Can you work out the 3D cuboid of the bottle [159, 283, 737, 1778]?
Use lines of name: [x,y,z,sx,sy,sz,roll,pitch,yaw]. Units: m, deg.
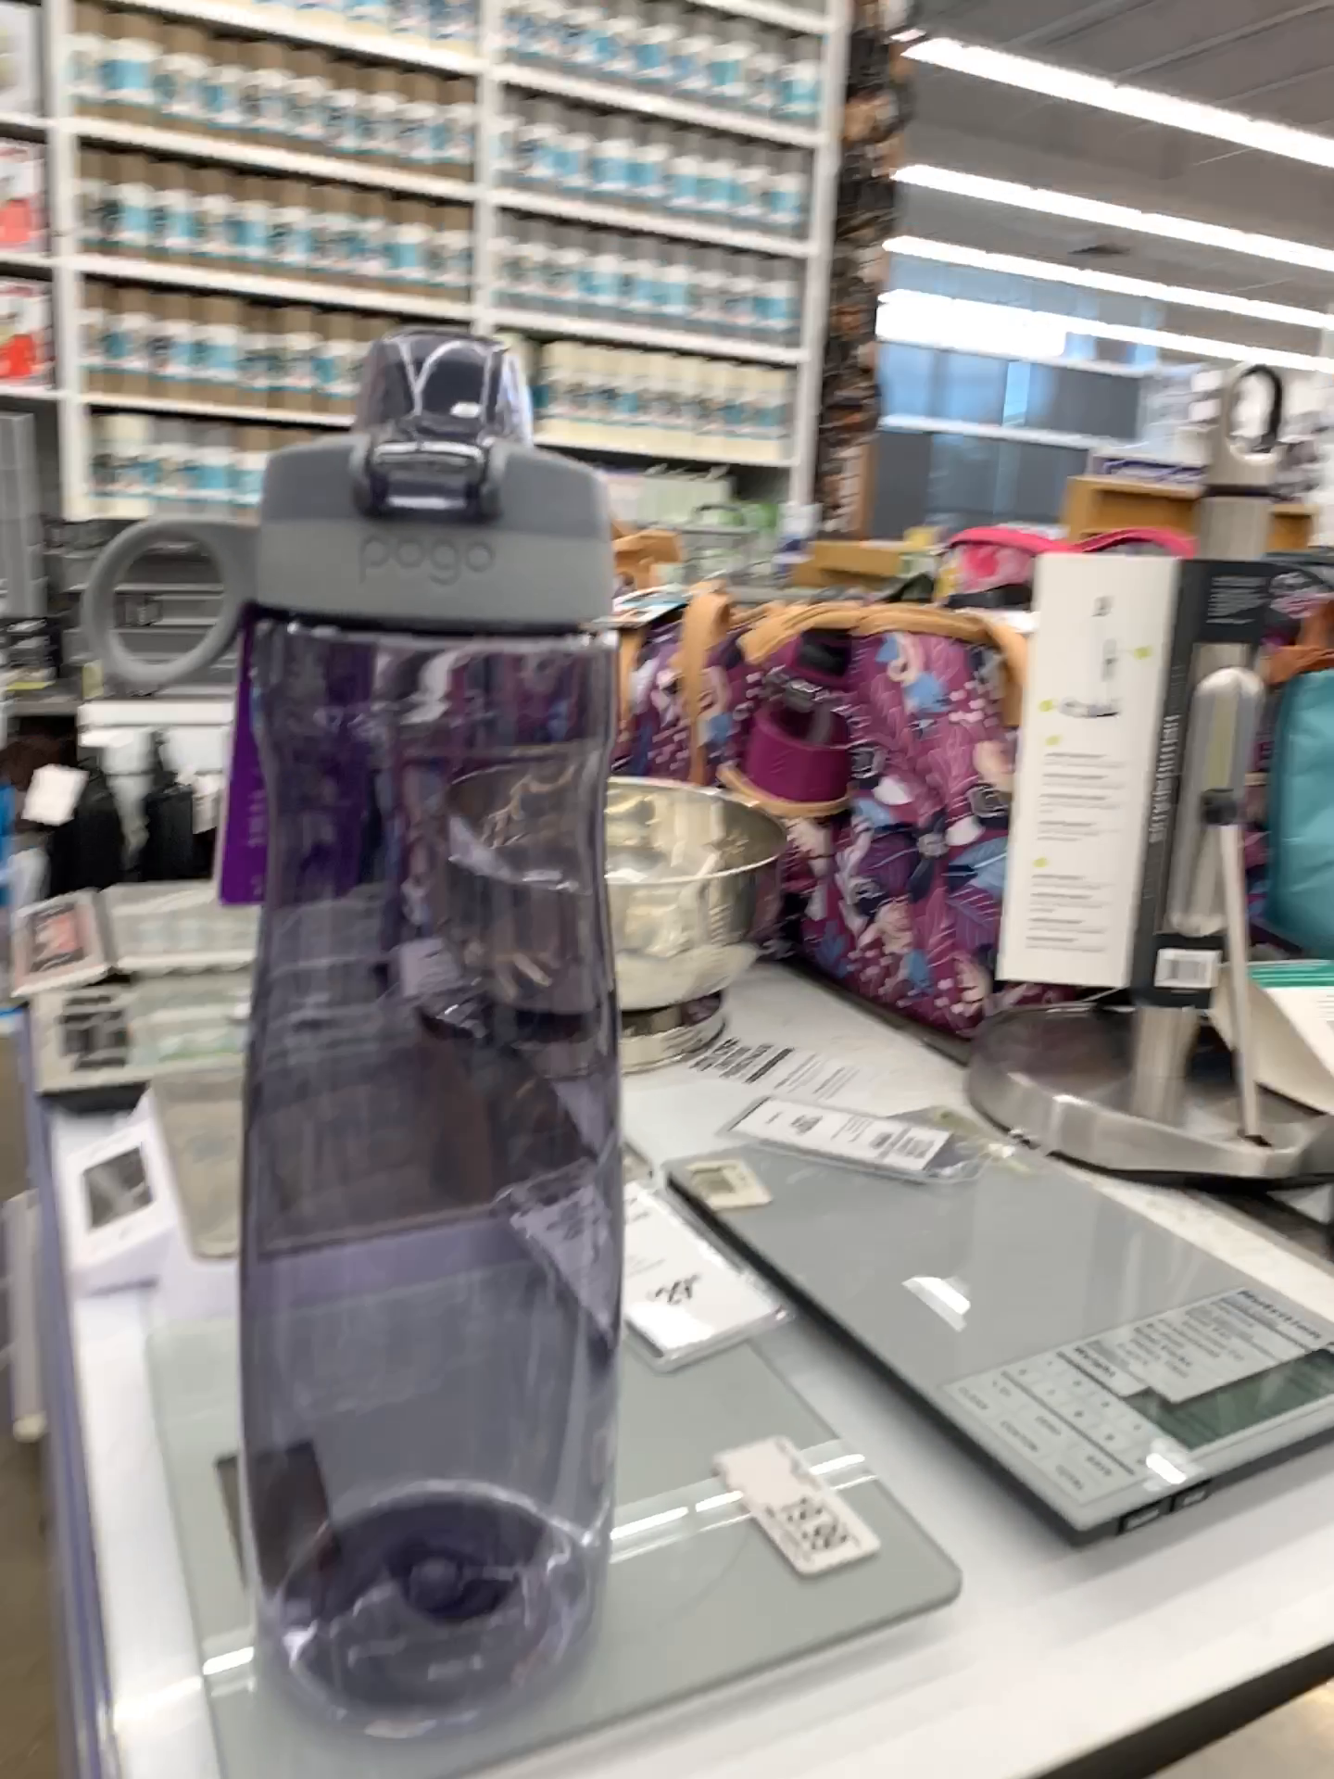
bottle: [-0.060,0.039,0.317,0.100,0.309,0.100,3,14,-1]
